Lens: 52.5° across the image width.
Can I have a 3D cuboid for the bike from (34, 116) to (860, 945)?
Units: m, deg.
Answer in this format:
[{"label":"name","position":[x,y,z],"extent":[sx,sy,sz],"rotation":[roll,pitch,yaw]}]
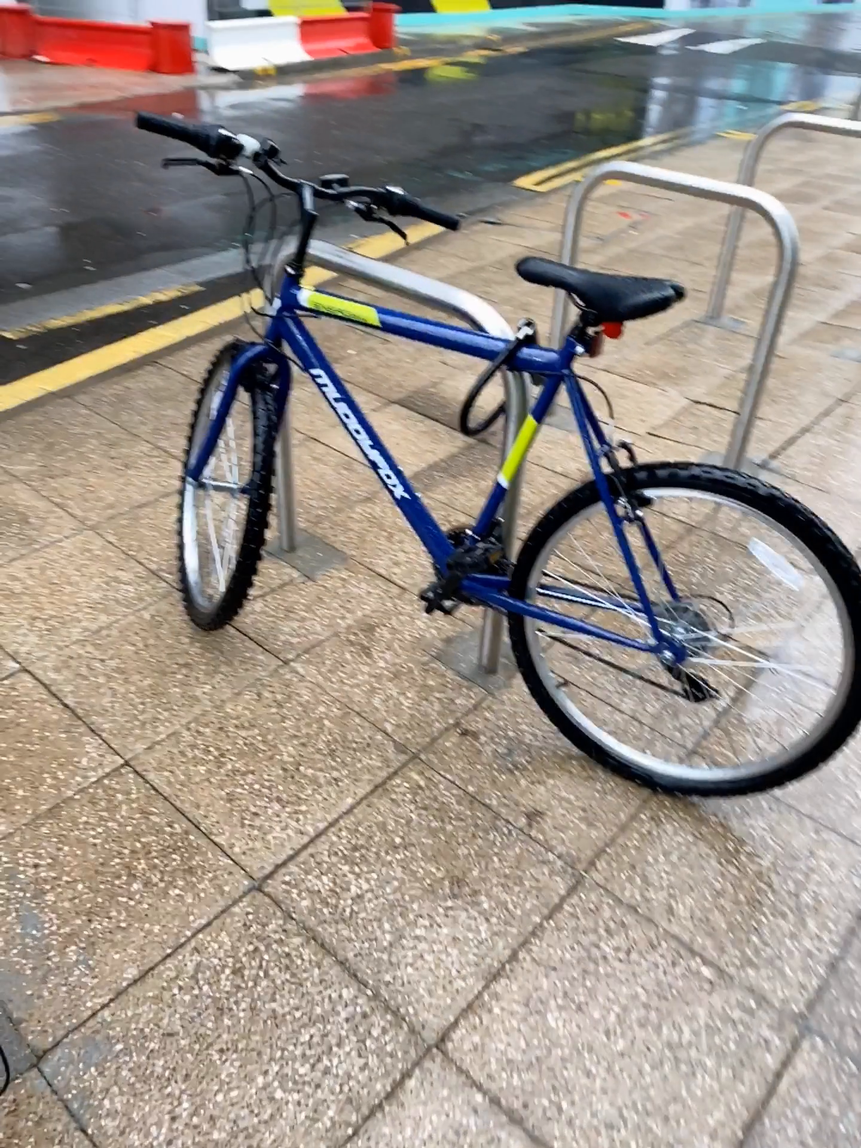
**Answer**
[{"label":"bike","position":[0.080,-0.226,1.682],"extent":[1.596,1.012,0.600],"rotation":[23,40,28]}]
